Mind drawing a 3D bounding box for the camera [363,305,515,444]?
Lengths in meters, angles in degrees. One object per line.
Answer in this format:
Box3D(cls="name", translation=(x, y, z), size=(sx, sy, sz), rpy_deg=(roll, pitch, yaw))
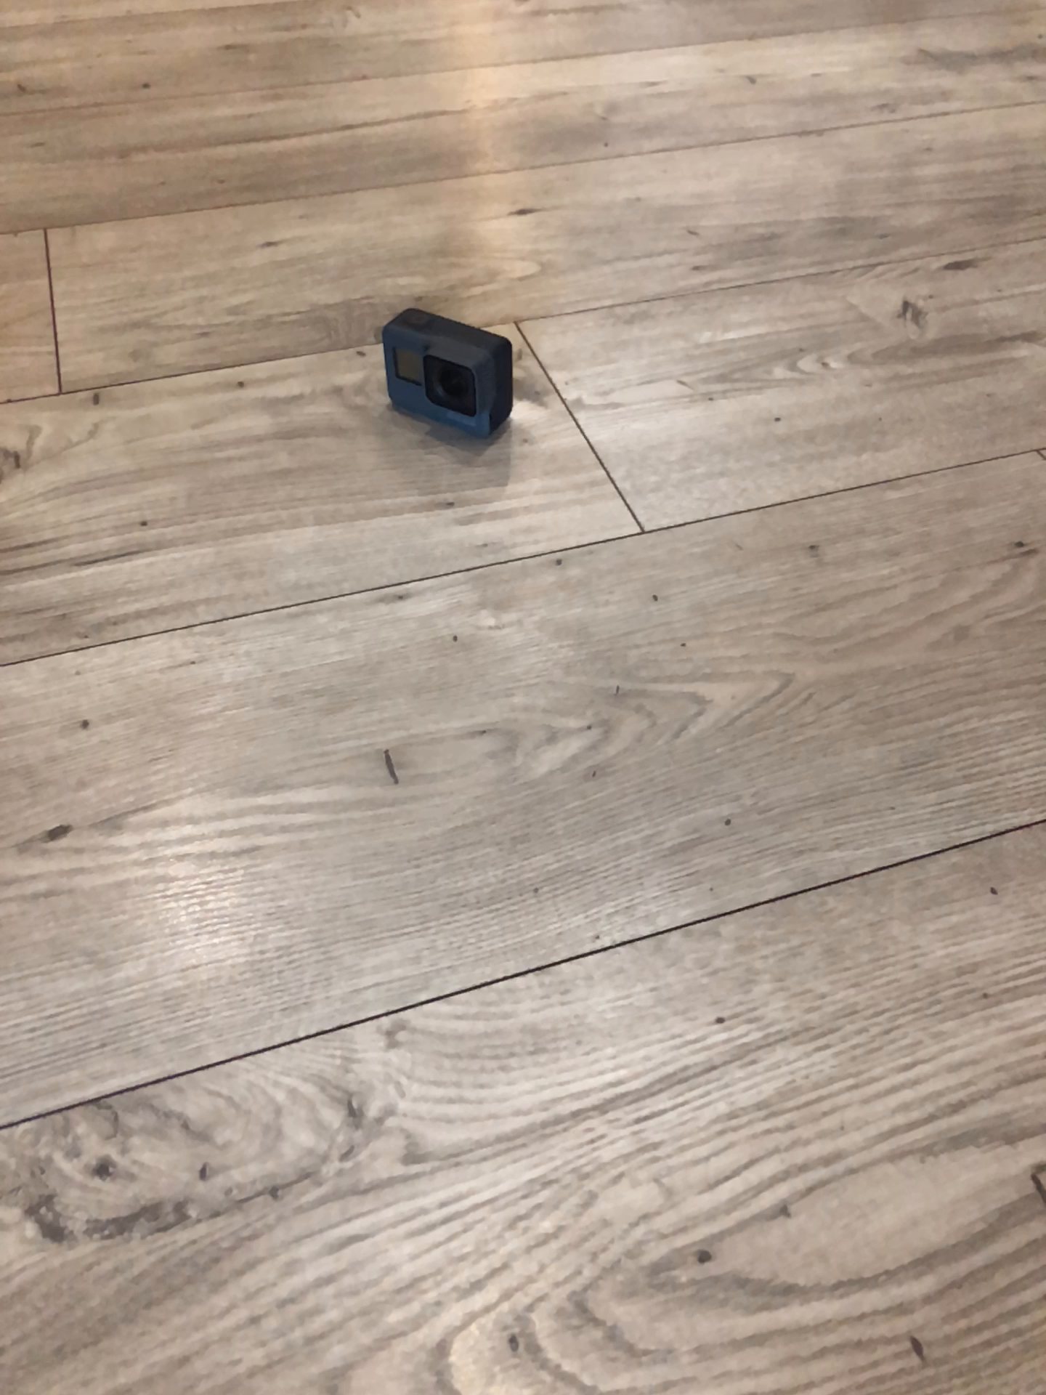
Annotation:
Box3D(cls="camera", translation=(-0.040, -0.157, 0.560), size=(0.065, 0.040, 0.032), rpy_deg=(23, 51, 20))
